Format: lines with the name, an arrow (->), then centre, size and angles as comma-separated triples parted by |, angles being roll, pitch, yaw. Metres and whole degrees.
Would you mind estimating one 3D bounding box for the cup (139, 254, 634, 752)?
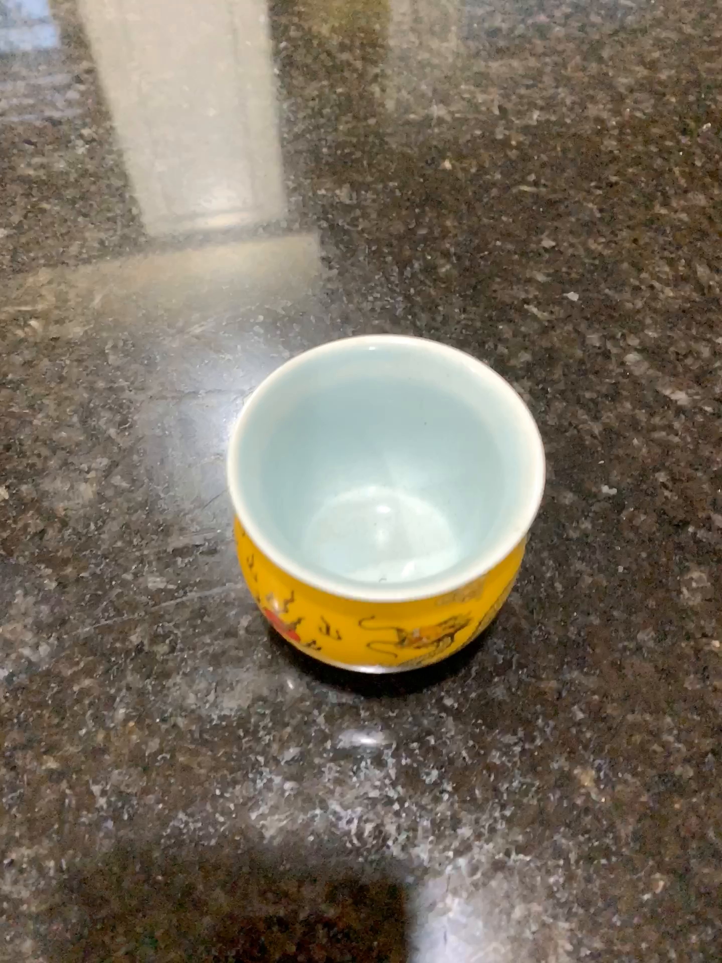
cup -> 0.005, 0.005, 0.186 | 0.076, 0.066, 0.072 | 0, 57, 0
